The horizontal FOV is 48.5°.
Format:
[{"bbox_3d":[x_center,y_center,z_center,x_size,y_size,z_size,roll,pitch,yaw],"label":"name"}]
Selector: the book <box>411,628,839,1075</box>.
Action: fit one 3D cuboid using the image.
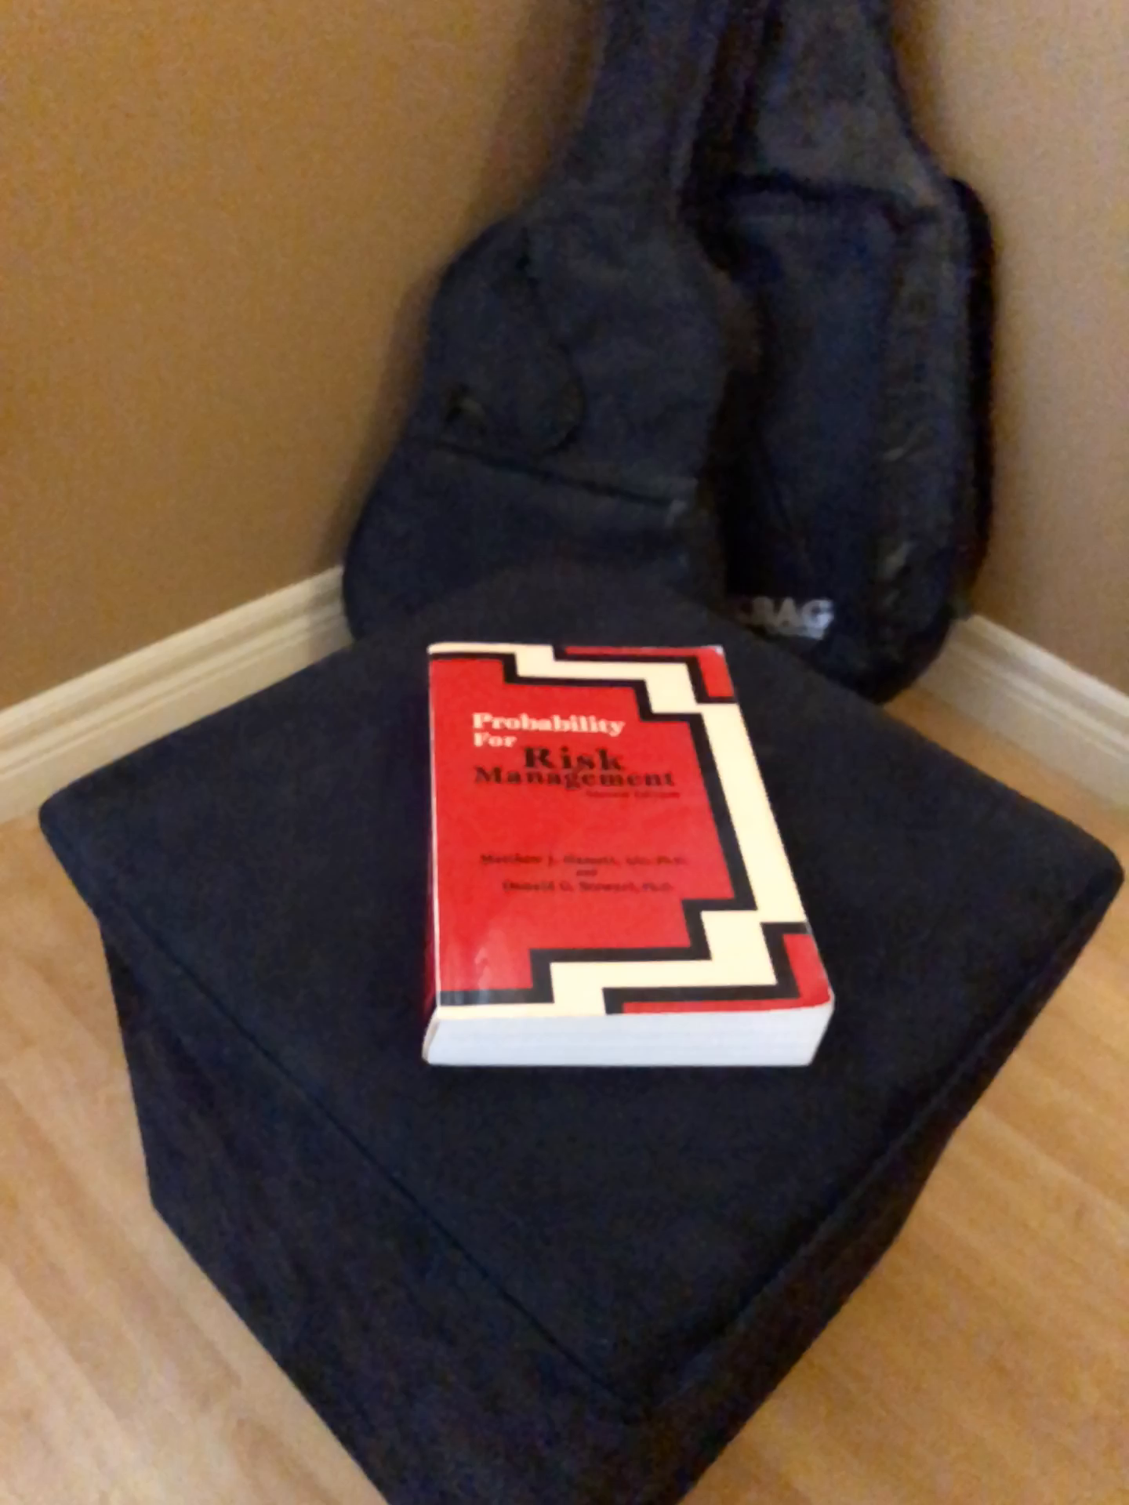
[{"bbox_3d":[0.013,0.031,0.529,0.150,0.041,0.216,2,42,-7],"label":"book"}]
